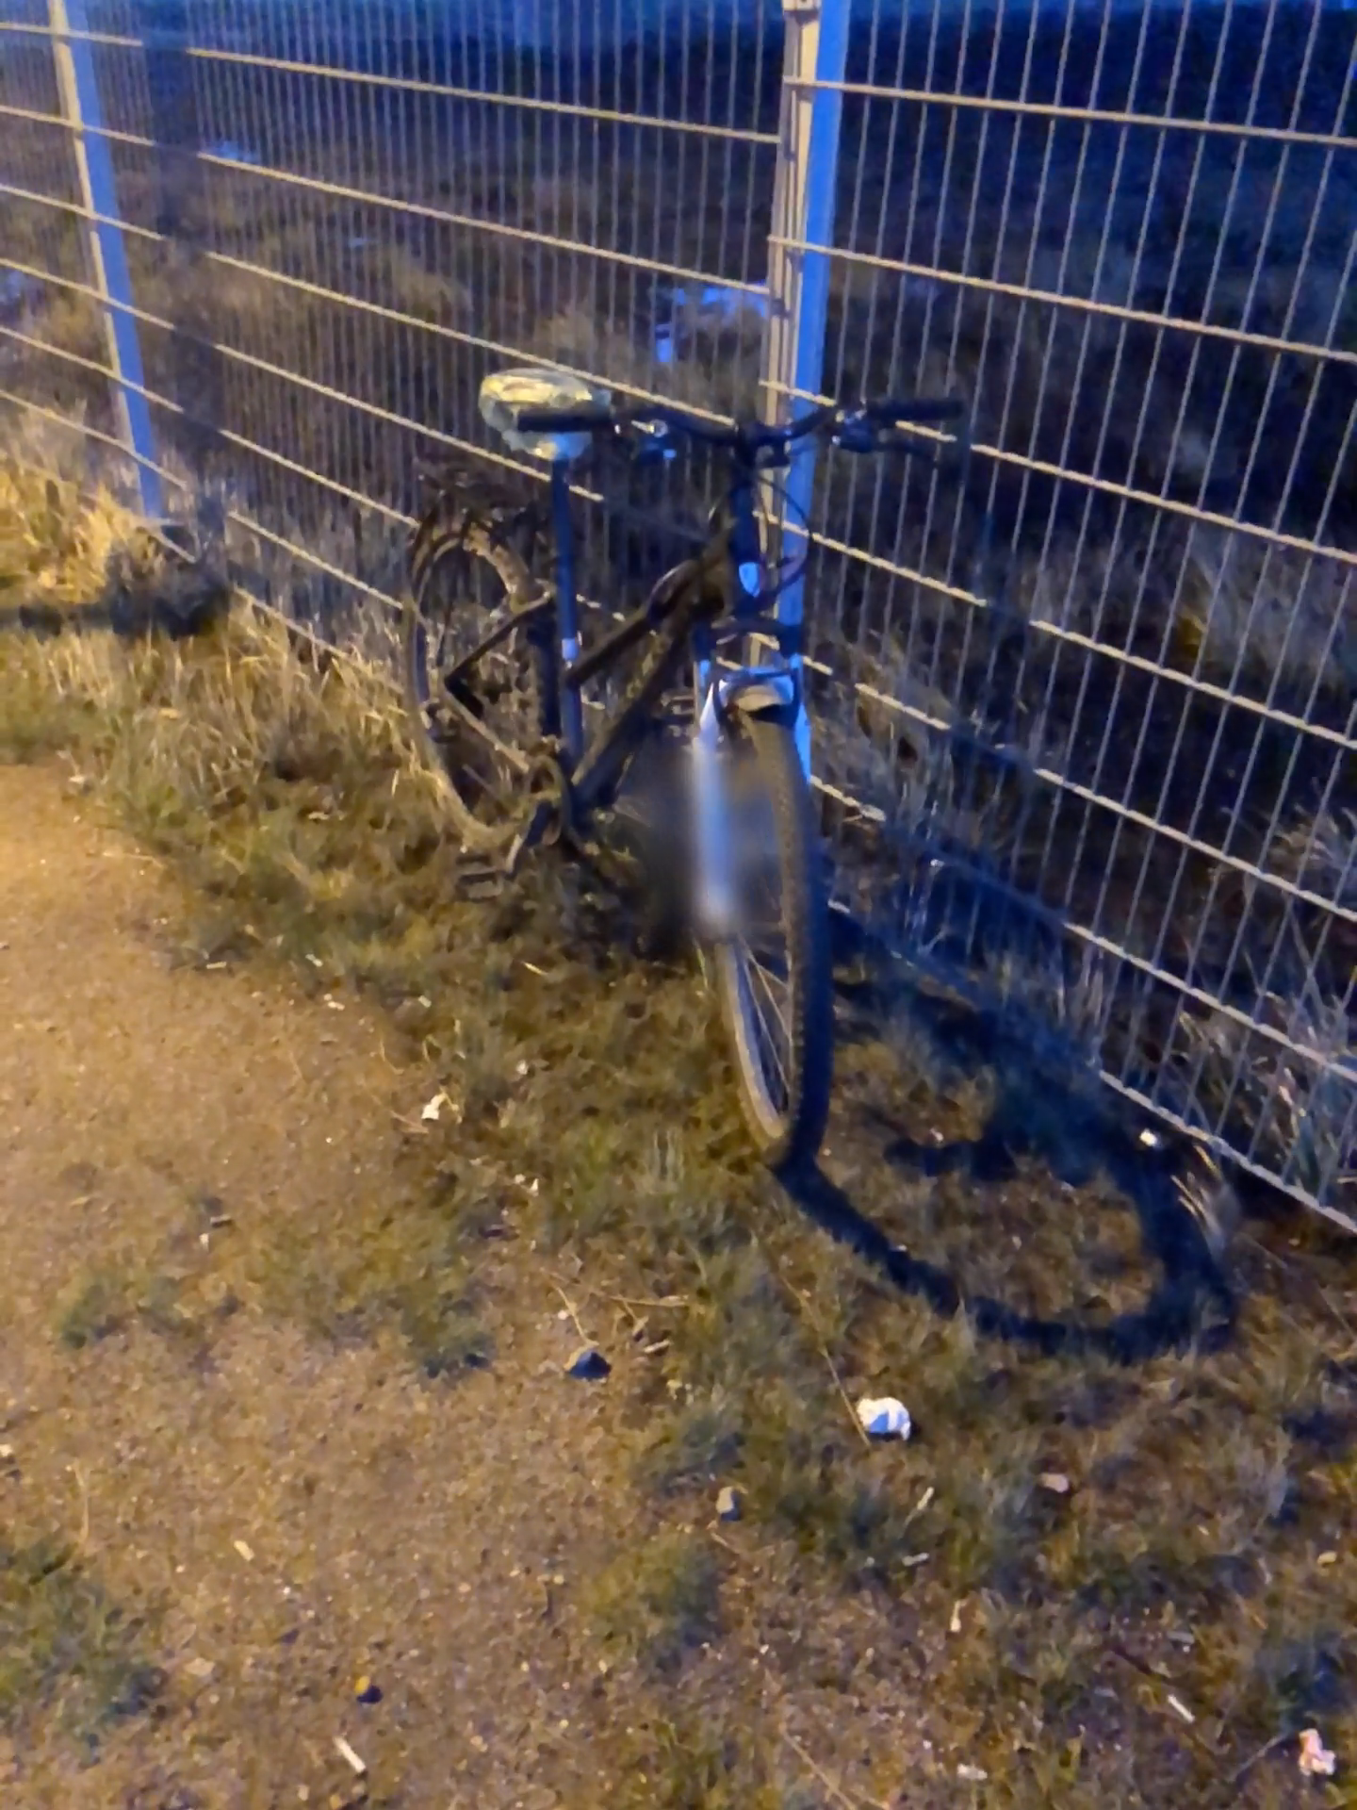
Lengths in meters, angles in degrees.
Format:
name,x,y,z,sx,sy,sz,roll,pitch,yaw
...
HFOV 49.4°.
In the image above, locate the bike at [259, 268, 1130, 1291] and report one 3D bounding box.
name,x,y,z,sx,sy,sz,roll,pitch,yaw
bike,-0.139,-0.366,2.276,0.570,0.947,1.591,-13,33,-23
